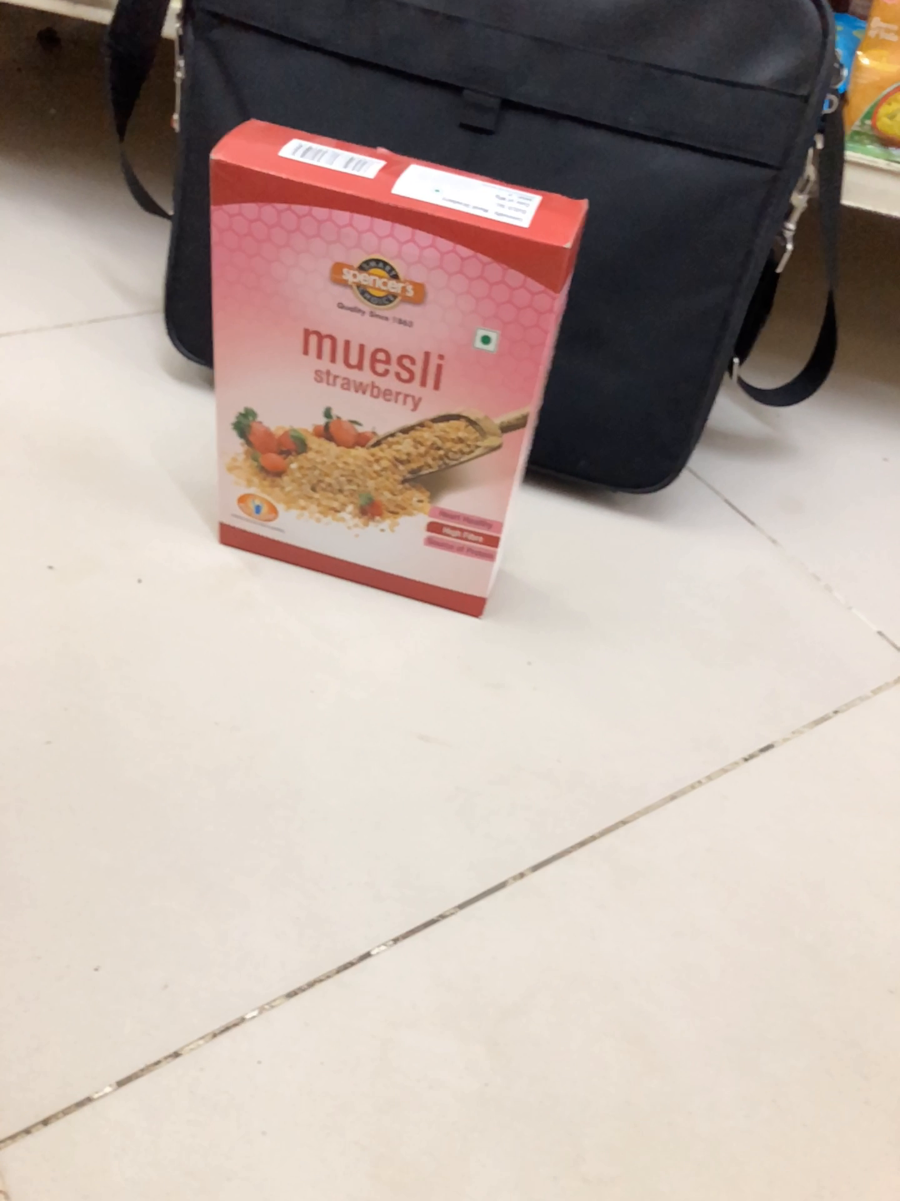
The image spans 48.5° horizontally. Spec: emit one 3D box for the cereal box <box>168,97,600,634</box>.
[{"bbox_3d":[-0.047,-0.119,0.570,0.200,0.258,0.060,16,43,6],"label":"cereal box"}]
